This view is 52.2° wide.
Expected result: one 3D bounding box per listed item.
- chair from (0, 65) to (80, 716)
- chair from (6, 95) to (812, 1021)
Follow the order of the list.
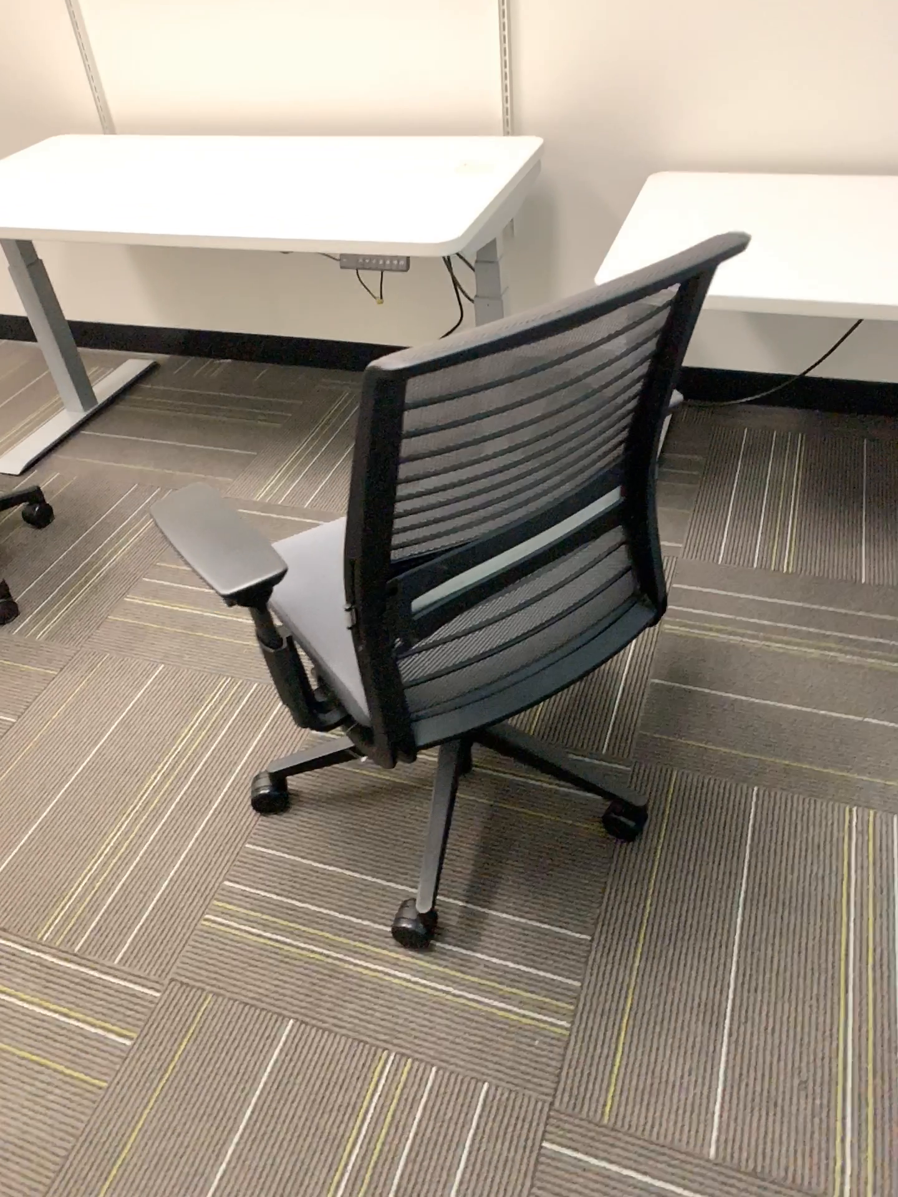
[{"bbox_3d":[-1.372,-0.461,1.948,0.700,0.994,0.735,-22,43,-19],"label":"chair"},{"bbox_3d":[-0.034,-0.072,1.332,0.641,0.994,0.643,-30,46,-26],"label":"chair"}]
